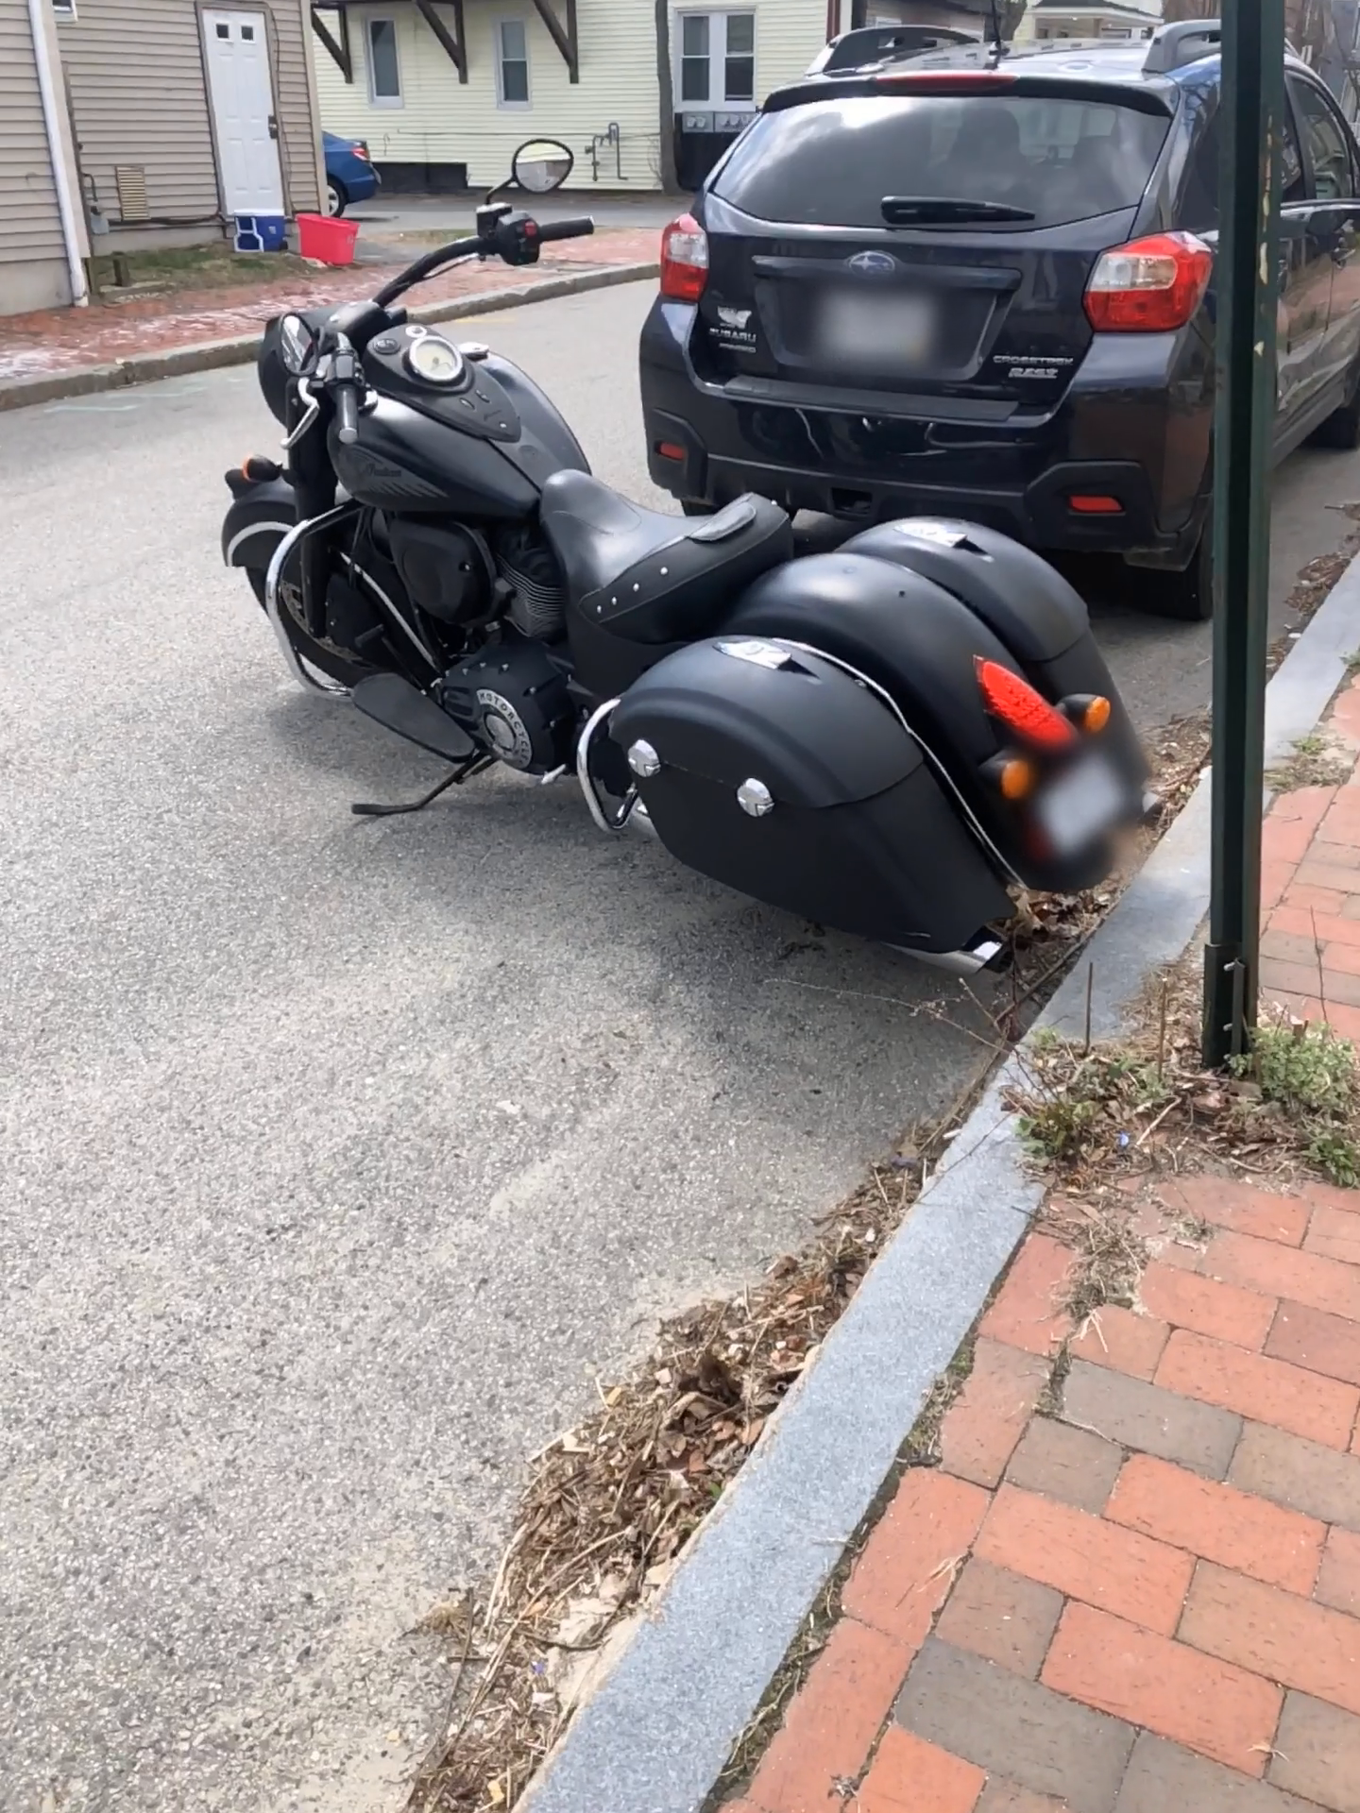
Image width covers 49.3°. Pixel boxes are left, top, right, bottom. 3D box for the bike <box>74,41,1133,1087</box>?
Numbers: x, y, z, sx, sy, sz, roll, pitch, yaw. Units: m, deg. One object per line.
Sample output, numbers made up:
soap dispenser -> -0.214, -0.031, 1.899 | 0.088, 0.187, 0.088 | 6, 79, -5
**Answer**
bike -> -0.149, -0.642, 2.487 | 1.527, 1.141, 0.548 | 22, 34, 25
